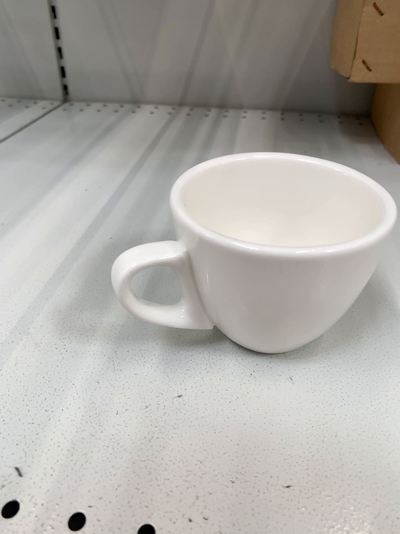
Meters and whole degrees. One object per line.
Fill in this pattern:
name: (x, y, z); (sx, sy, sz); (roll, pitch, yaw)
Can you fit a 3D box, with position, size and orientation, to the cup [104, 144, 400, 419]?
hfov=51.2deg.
cup: (0.028, -0.004, 0.207); (0.128, 0.072, 0.097); (-10, 36, -16)
